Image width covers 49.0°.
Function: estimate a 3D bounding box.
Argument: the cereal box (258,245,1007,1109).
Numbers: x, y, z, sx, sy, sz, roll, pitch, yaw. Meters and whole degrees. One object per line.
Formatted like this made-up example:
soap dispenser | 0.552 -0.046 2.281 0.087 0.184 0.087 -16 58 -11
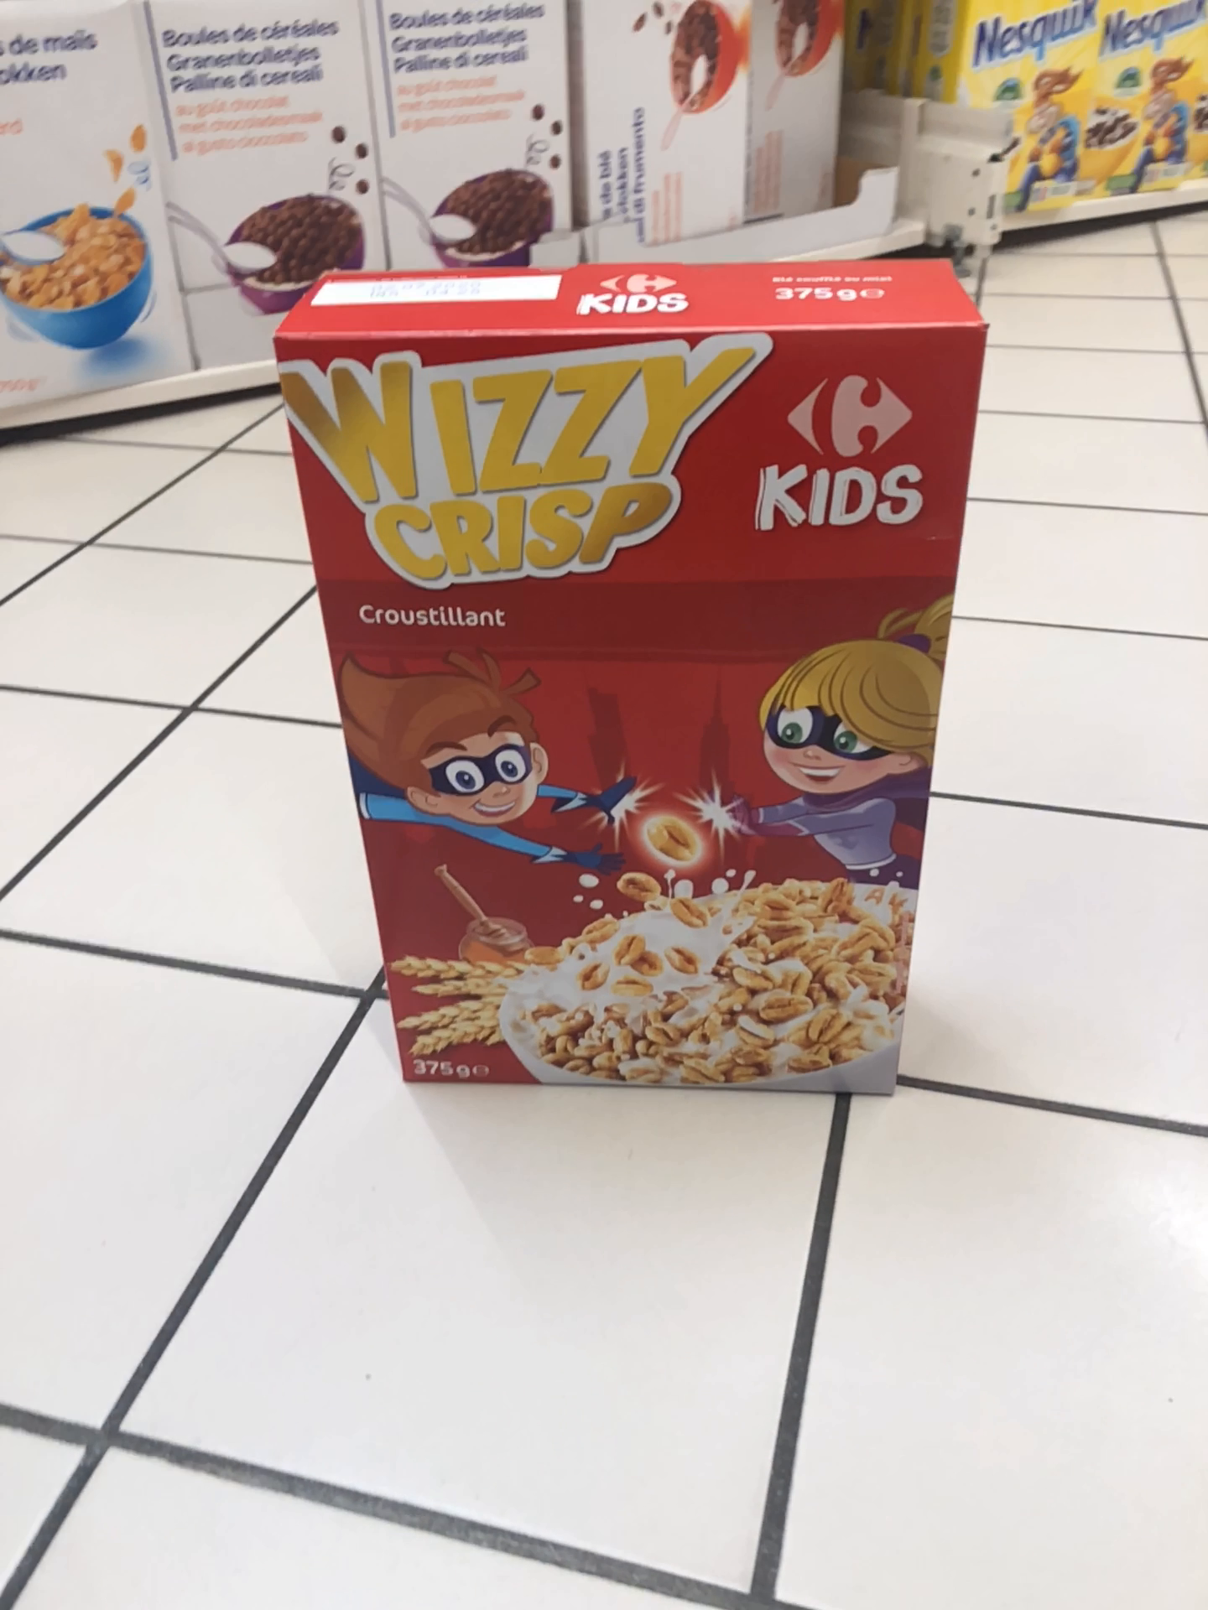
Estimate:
cereal box | 0.013 -0.031 0.451 0.190 0.278 0.091 0 34 4
